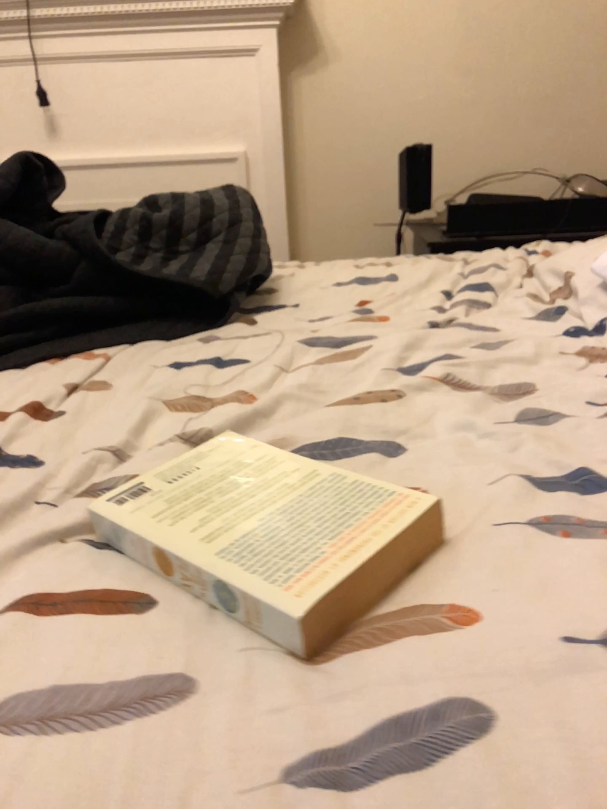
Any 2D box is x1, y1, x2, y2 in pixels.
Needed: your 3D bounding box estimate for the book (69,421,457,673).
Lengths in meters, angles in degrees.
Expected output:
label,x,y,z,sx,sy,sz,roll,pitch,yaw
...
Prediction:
label,x,y,z,sx,sy,sz,roll,pitch,yaw
book,-0.030,0.077,0.464,0.220,0.040,0.151,15,26,37
